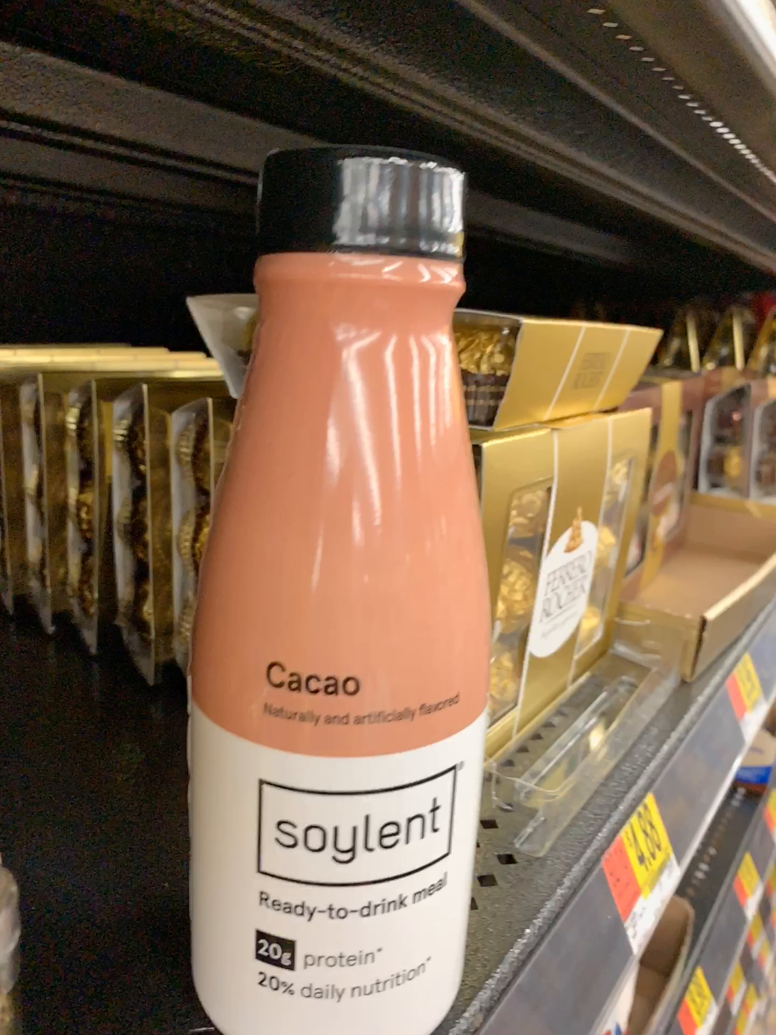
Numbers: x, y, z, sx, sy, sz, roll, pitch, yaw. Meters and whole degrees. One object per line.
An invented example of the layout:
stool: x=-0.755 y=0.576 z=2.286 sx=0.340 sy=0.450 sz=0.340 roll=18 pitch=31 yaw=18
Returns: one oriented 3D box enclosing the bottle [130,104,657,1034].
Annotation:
bottle: x=-0.009 y=0.023 z=0.182 sx=0.080 sy=0.189 sz=0.070 roll=3 pitch=15 yaw=-8
